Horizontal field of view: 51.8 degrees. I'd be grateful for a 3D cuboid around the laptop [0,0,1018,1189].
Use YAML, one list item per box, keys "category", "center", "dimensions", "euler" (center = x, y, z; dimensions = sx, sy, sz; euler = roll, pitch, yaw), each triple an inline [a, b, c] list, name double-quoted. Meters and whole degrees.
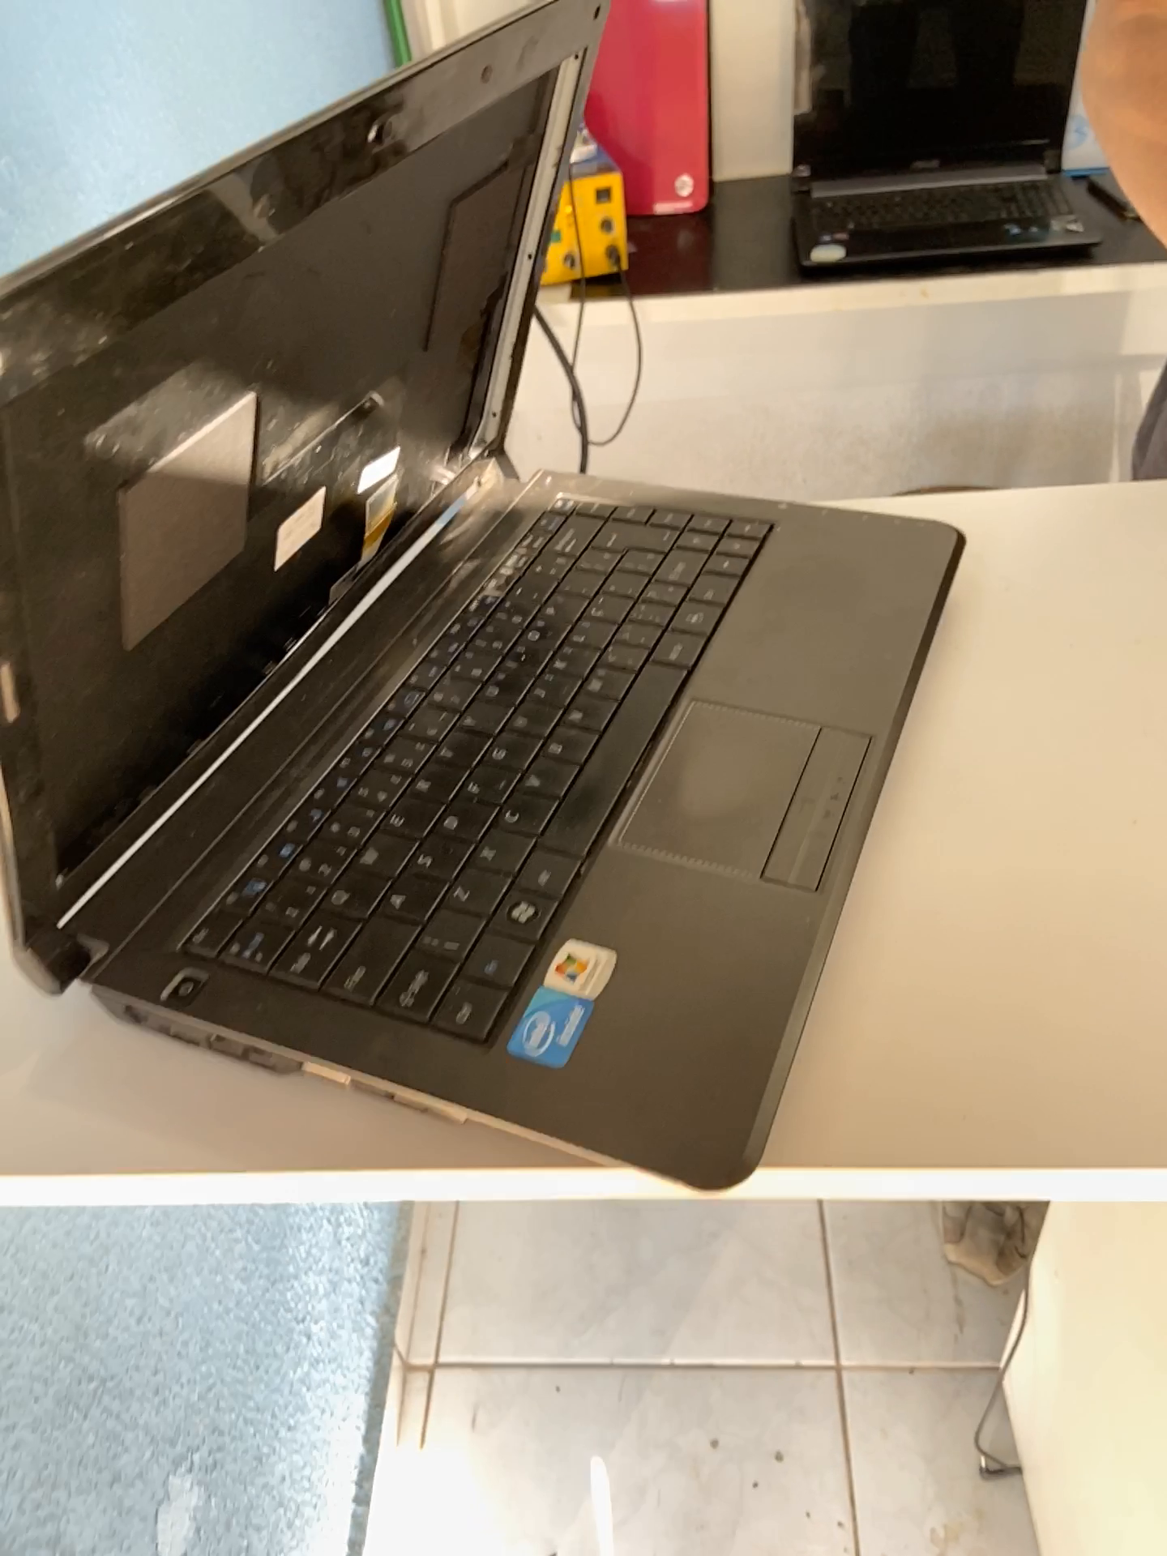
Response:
- category: "laptop"
  center: [-0.004, -0.099, 0.385]
  dimensions: [0.206, 0.206, 0.332]
  euler: [12, 45, 20]
